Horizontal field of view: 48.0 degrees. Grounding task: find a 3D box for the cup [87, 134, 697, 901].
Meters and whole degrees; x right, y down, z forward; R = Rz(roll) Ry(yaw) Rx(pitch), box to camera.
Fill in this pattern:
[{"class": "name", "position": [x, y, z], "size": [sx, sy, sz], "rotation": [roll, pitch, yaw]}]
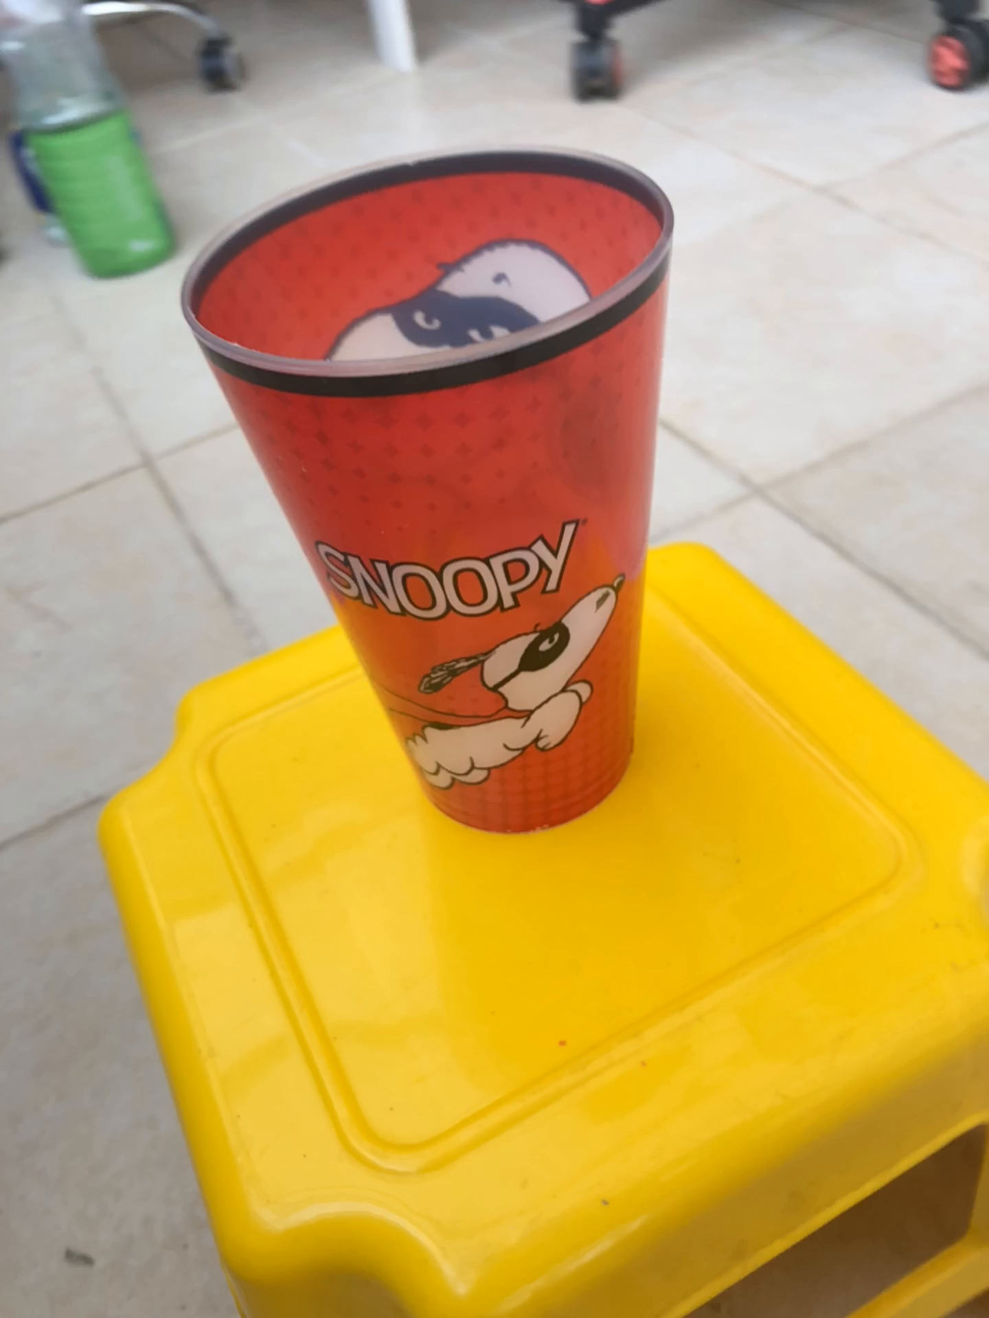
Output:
[{"class": "cup", "position": [-0.005, -0.028, 0.267], "size": [0.100, 0.139, 0.111], "rotation": [-2, 44, 10]}]
